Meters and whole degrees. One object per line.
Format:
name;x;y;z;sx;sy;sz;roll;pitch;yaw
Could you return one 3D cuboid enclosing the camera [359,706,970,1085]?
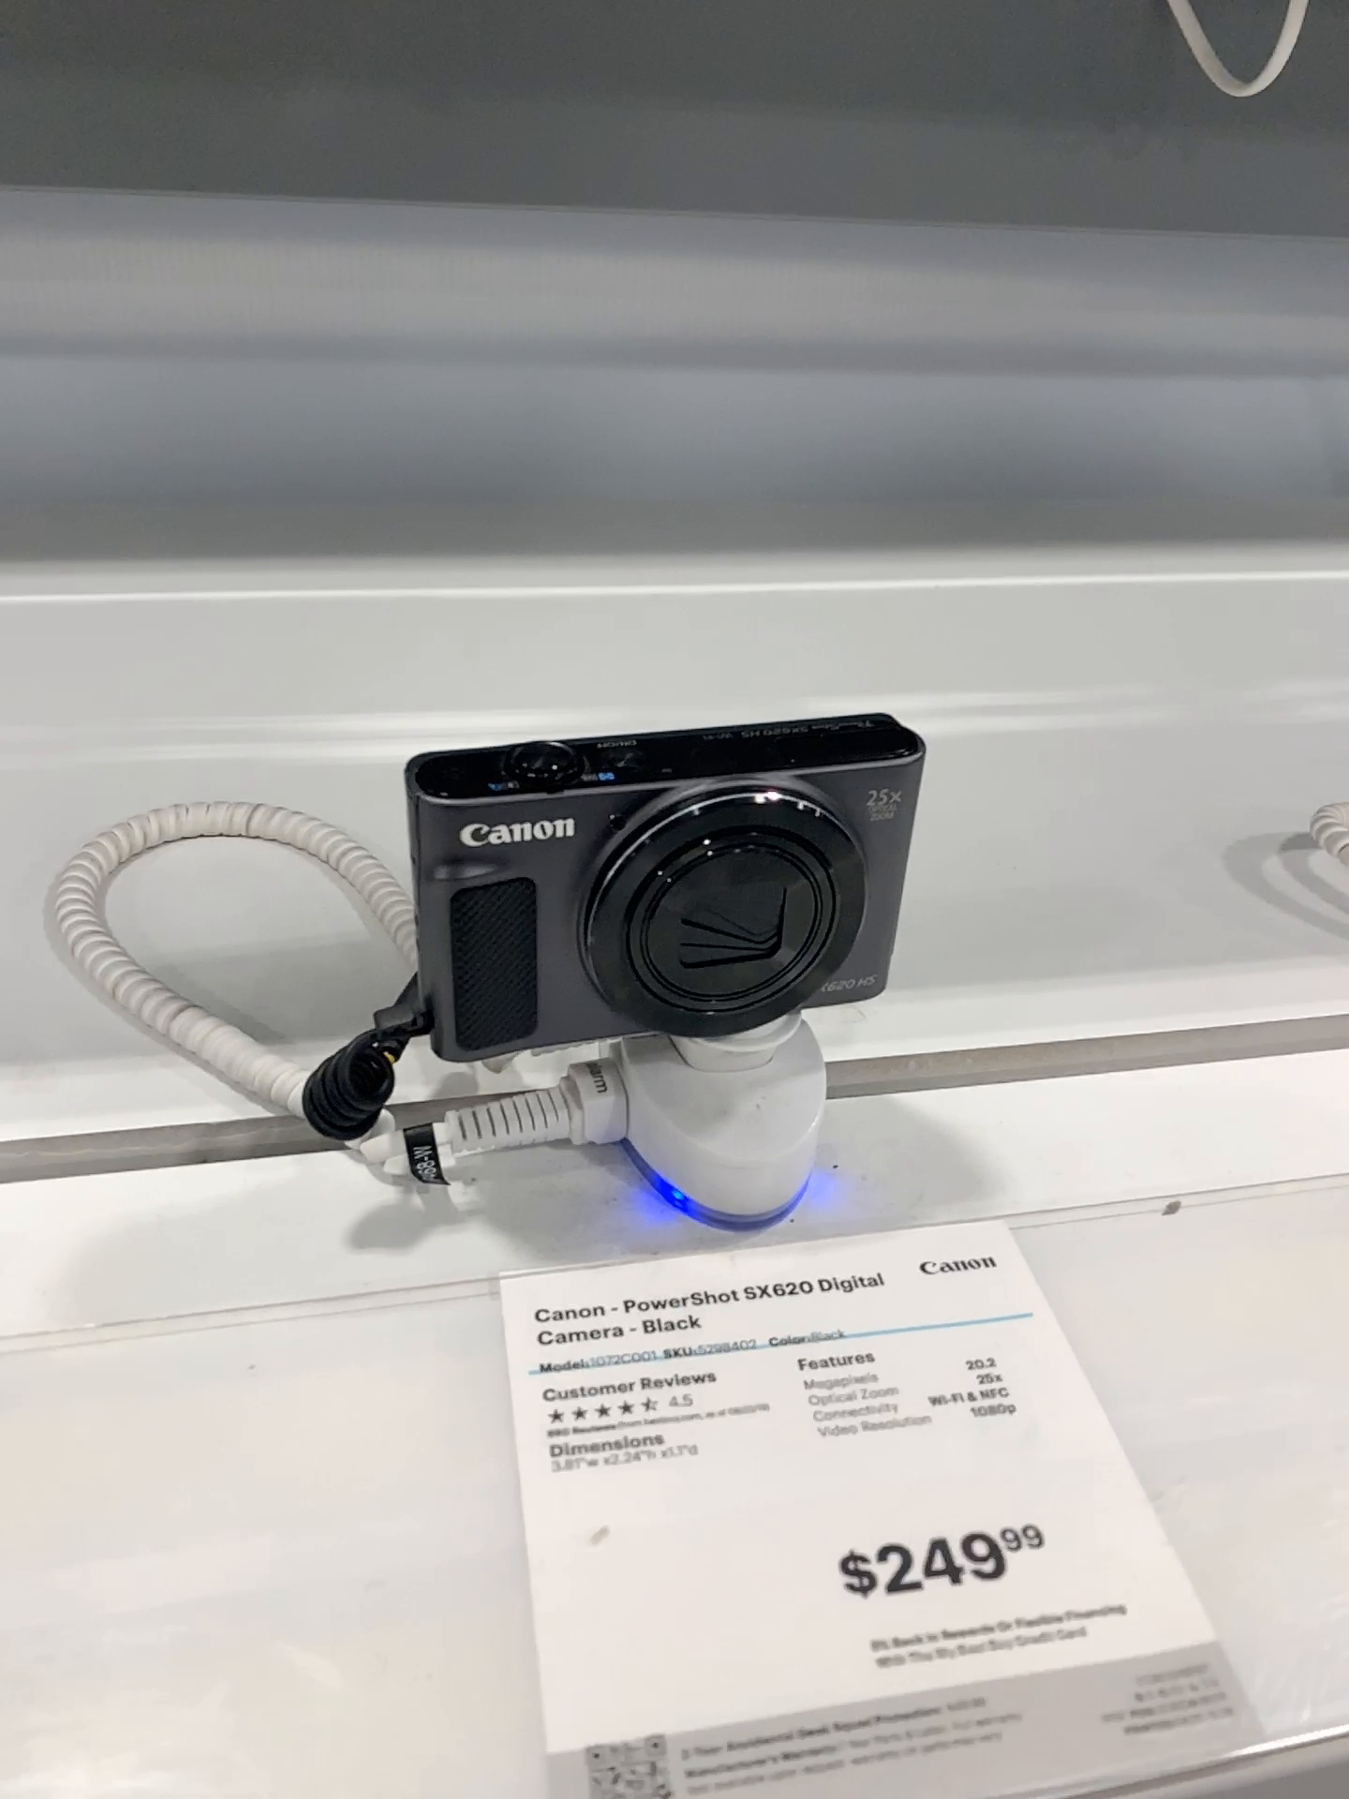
camera;-0.003;-0.003;0.251;0.100;0.050;0.031;-6;33;-17
